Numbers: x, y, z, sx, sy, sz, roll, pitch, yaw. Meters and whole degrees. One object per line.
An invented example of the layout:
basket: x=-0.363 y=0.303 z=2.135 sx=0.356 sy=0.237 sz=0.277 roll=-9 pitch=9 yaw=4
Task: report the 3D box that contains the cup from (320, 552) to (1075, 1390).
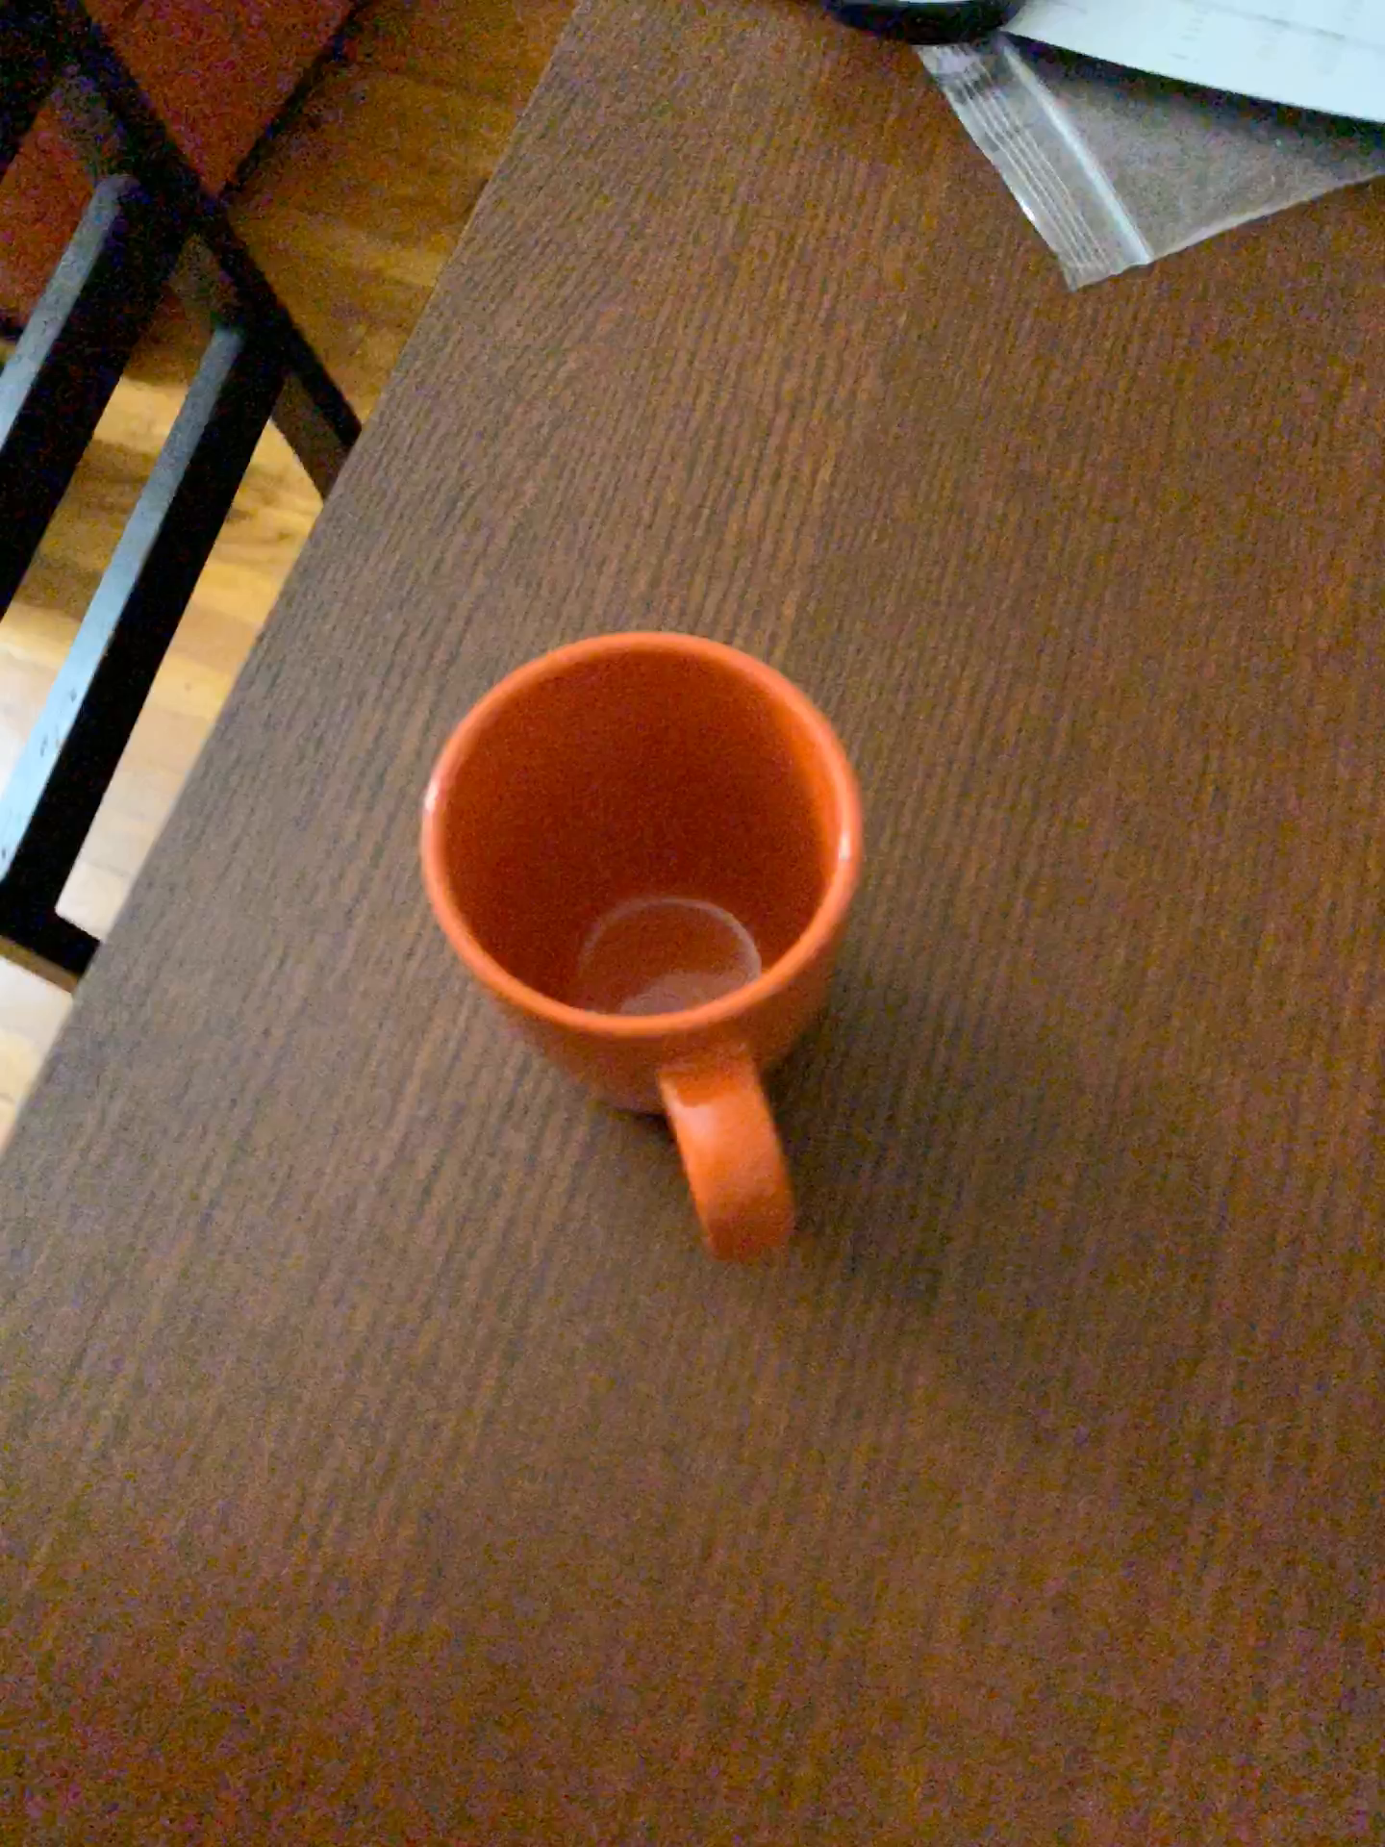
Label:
cup: x=-0.002 y=0.018 z=0.311 sx=0.100 sy=0.110 sz=0.130 roll=-20 pitch=70 yaw=-5
